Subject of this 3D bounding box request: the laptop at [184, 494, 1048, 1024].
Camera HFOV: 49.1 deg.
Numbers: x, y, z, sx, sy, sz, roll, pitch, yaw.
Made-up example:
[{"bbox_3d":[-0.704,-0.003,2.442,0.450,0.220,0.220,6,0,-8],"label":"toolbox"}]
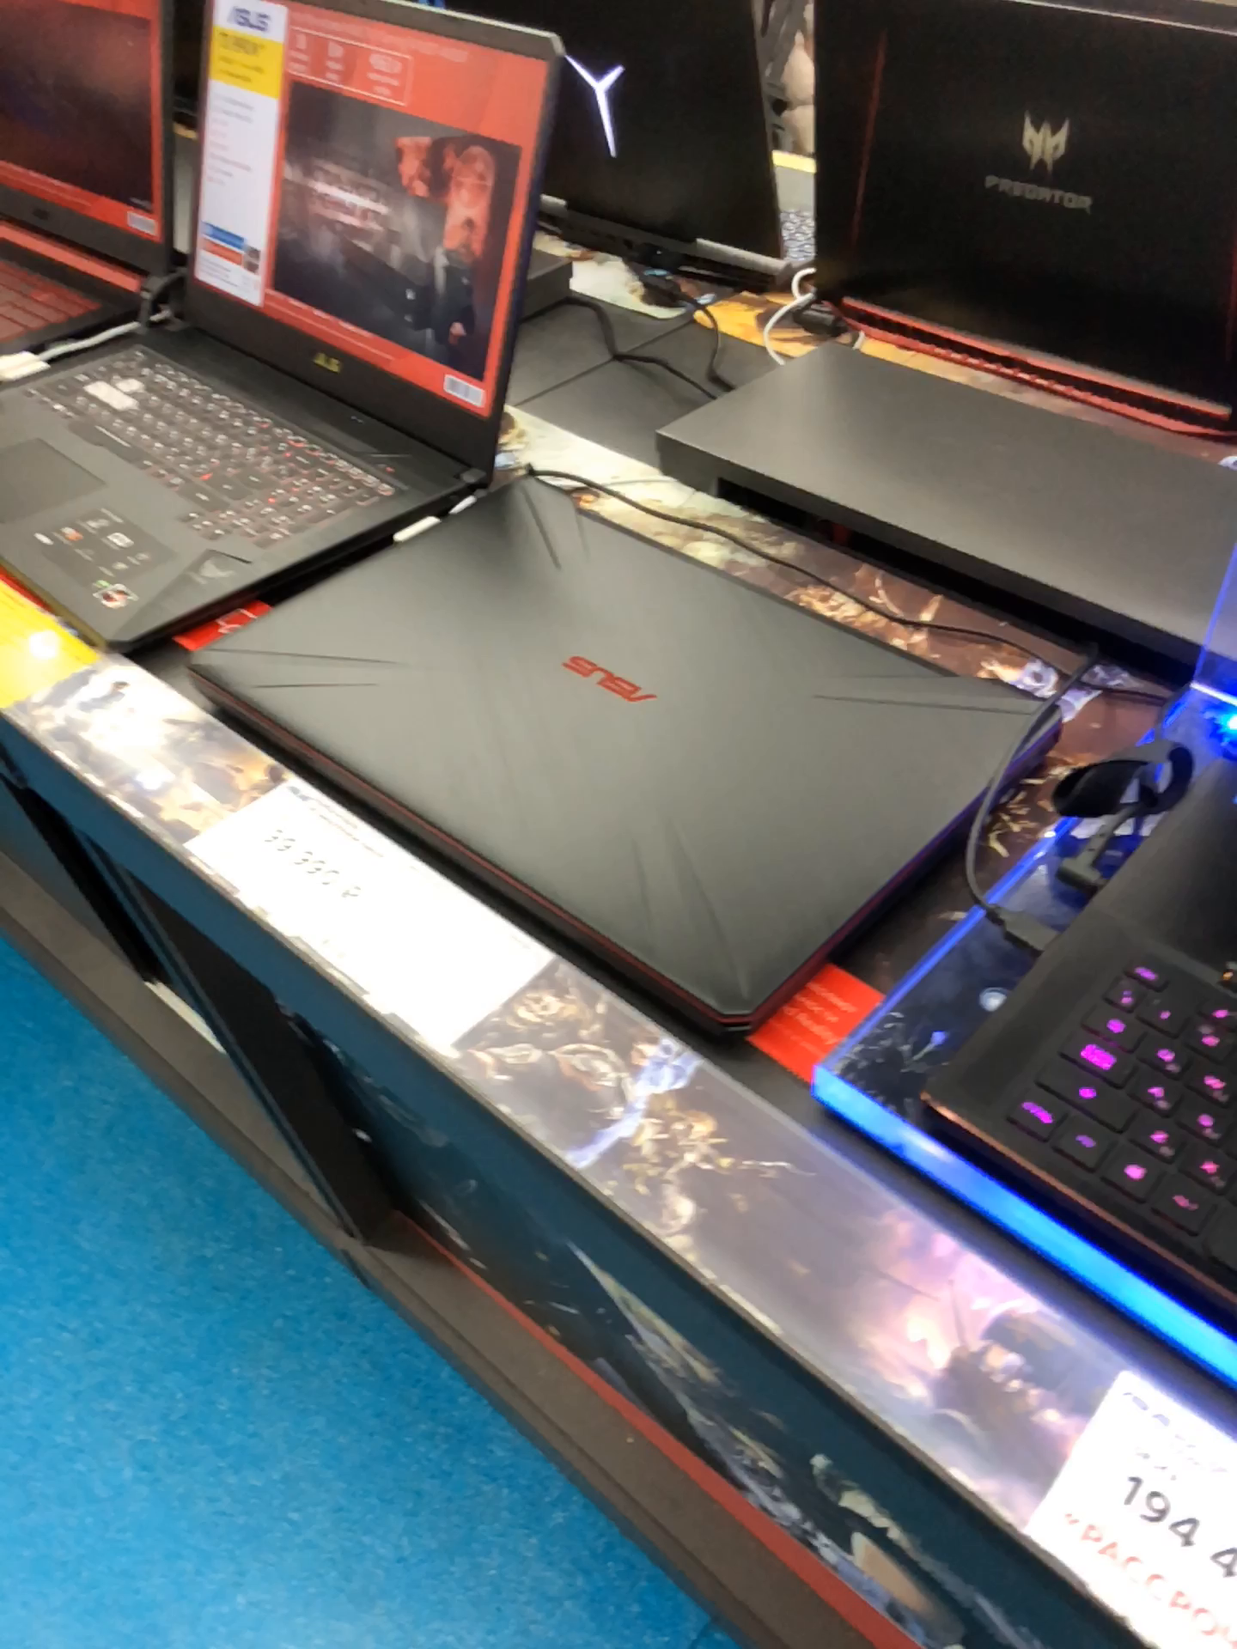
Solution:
[{"bbox_3d":[-0.011,-0.068,0.711,0.389,0.002,0.253,29,50,31],"label":"laptop"}]
